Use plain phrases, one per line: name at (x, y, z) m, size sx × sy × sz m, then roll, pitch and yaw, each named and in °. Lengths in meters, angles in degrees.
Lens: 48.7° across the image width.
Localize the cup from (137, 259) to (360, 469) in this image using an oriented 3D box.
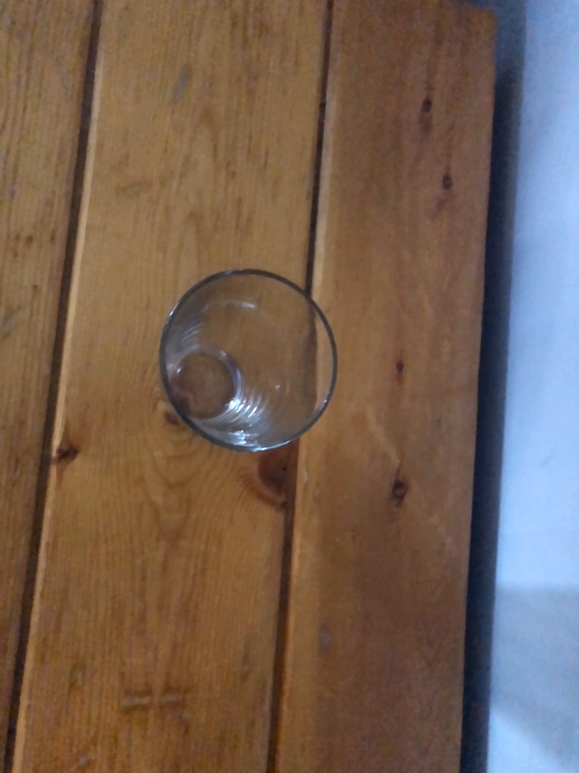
cup at (-0.034, -0.005, 0.360) m, size 0.090 × 0.150 × 0.090 m, roll 2°, pitch 84°, yaw -15°
